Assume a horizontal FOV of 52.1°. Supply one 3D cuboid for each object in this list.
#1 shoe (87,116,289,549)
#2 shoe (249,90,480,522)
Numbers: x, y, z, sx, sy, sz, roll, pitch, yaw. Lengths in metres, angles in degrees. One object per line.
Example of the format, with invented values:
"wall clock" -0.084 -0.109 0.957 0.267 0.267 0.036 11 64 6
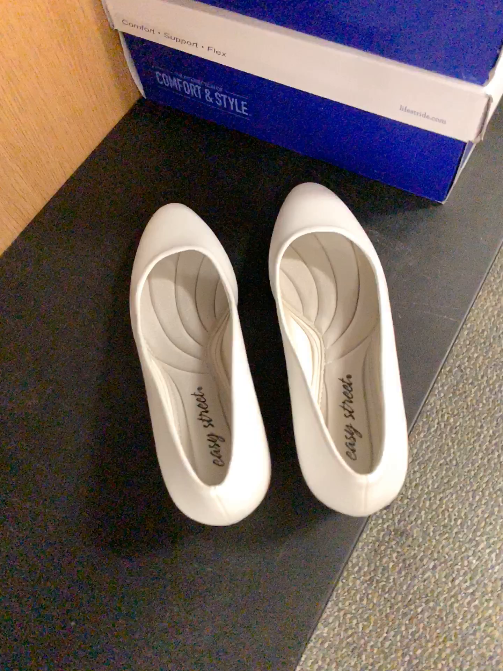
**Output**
"shoe" -0.042 -0.004 0.333 0.080 0.100 0.250 -12 66 0
"shoe" 0.054 -0.019 0.334 0.090 0.110 0.250 -5 66 3
